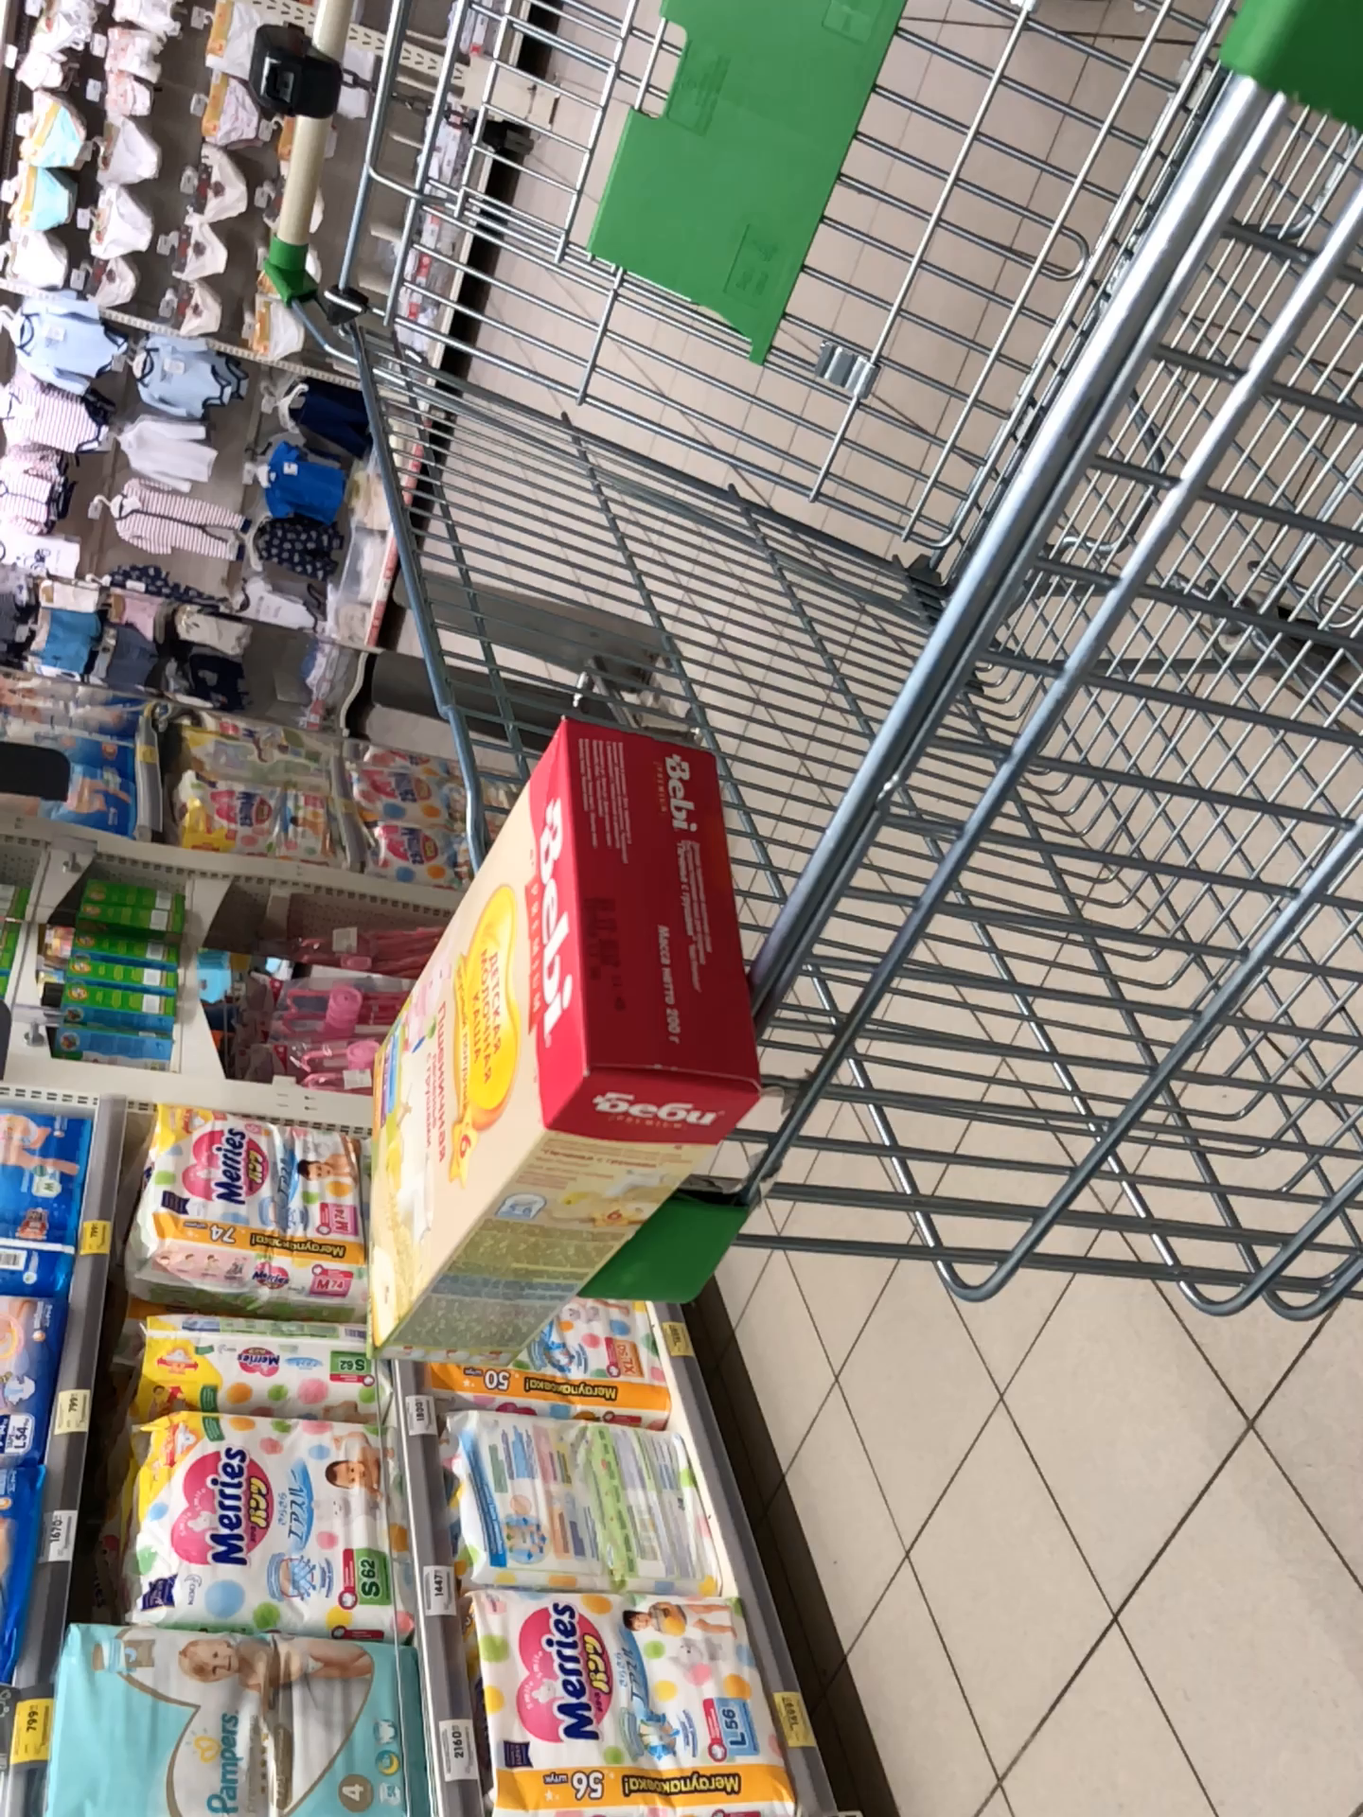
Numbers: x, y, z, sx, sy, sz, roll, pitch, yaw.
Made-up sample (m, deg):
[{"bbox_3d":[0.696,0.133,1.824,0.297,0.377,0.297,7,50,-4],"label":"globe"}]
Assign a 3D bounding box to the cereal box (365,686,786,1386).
[{"bbox_3d":[-0.046,0.052,0.479,0.211,0.050,0.130,127,147,-45],"label":"cereal box"}]
